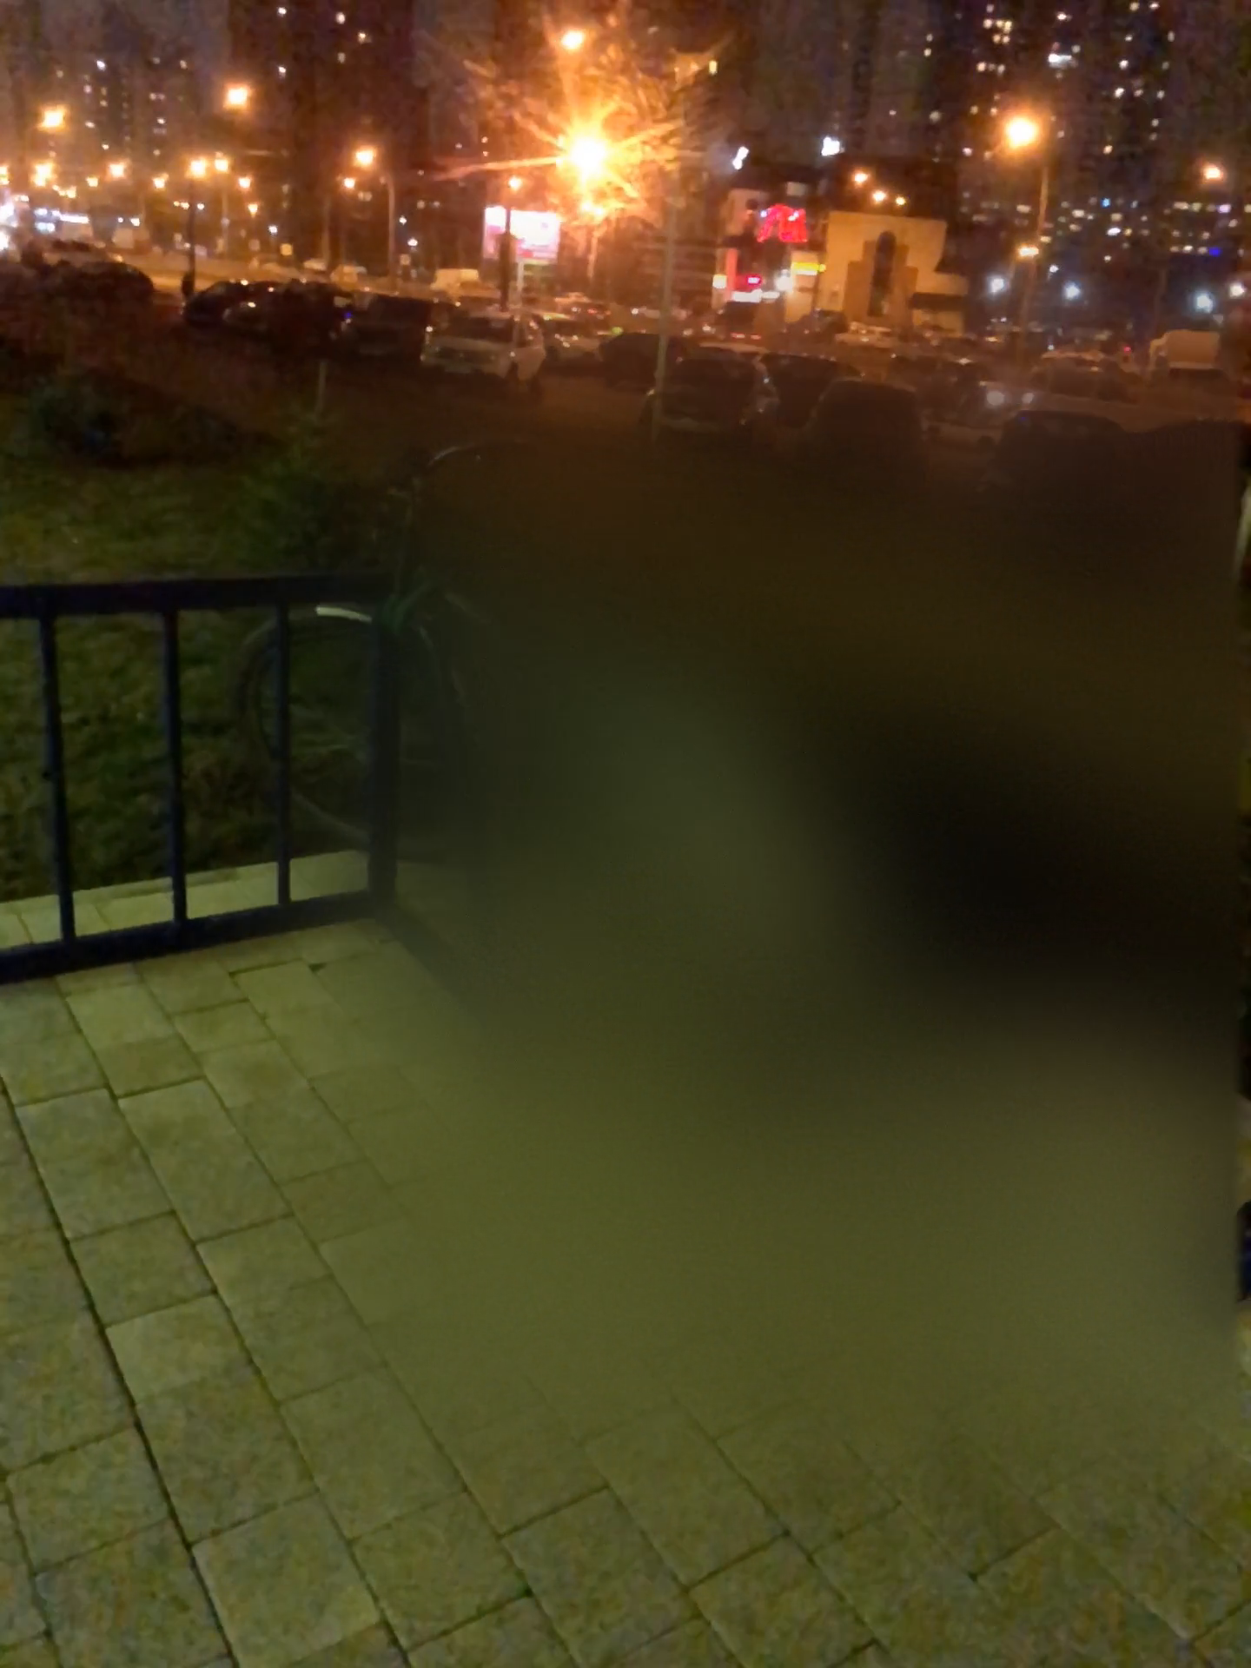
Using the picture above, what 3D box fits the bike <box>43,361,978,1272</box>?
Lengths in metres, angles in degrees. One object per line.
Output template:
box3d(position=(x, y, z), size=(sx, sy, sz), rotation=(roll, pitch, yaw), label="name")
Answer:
box3d(position=(-0.361, -0.206, 2.614), size=(0.680, 1.047, 1.722), rotation=(-15, 32, -41), label="bike")
